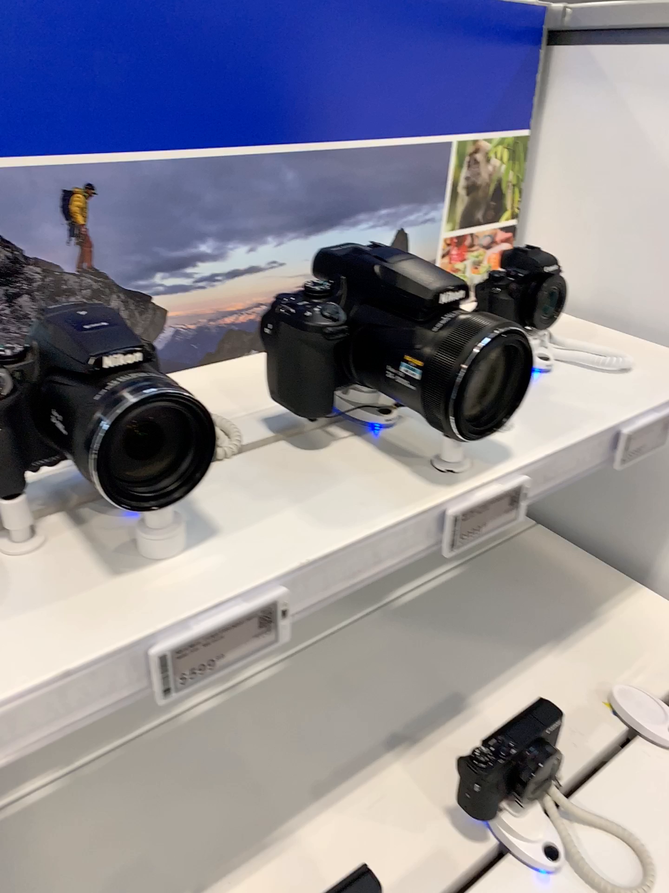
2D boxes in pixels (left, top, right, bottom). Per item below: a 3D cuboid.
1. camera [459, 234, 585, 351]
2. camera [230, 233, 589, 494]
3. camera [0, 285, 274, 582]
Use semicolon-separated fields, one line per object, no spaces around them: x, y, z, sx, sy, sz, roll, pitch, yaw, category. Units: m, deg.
0.197;-0.165;0.725;0.120;0.089;0.060;-23;37;-37;camera
0.048;-0.083;0.541;0.160;0.109;0.221;-20;35;-34;camera
-0.148;-0.024;0.439;0.160;0.099;0.151;-20;35;-33;camera
